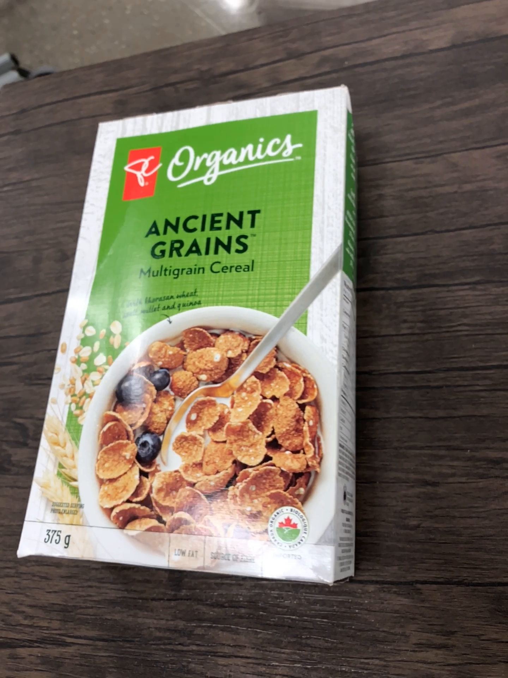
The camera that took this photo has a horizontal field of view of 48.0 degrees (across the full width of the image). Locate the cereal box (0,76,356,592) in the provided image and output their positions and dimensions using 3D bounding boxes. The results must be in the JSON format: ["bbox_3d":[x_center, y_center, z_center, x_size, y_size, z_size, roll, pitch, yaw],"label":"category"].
[{"bbox_3d":[-0.033,-0.006,0.319,0.170,0.070,0.250,-2,72,17],"label":"cereal box"}]
